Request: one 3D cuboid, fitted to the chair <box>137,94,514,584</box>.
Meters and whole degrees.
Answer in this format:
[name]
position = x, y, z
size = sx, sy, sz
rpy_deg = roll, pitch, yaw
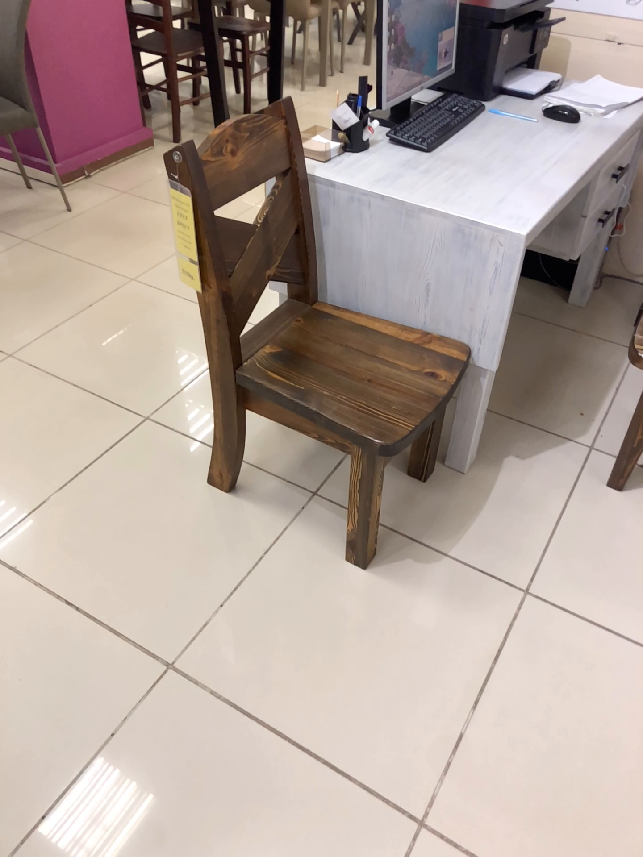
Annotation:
[chair]
position = 0.009, -0.194, 1.640
size = 0.571, 0.895, 0.452
rpy_deg = 22, 45, 22
